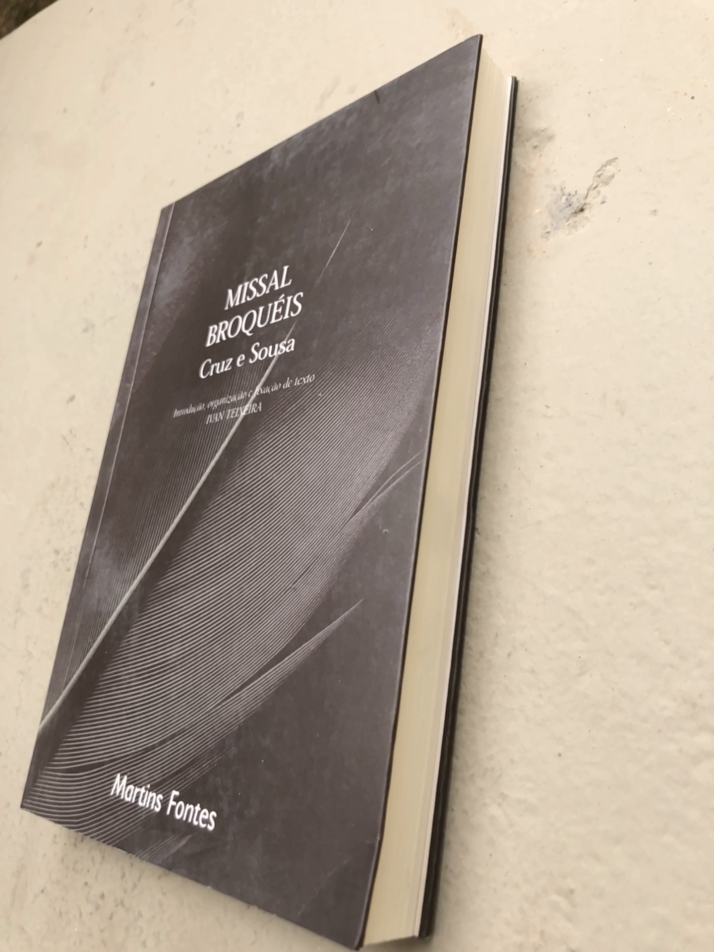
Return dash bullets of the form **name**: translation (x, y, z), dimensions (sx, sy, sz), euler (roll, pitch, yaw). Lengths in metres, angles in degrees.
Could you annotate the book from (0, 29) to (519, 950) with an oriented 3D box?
- **book**: translation (-0.028, -0.004, 0.193), dimensions (0.128, 0.016, 0.173), euler (-7, 67, 42)
